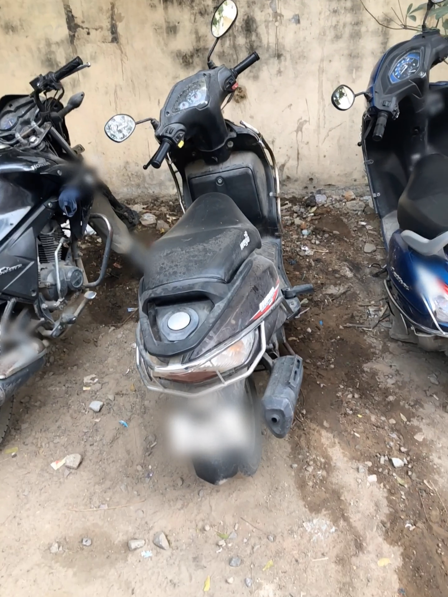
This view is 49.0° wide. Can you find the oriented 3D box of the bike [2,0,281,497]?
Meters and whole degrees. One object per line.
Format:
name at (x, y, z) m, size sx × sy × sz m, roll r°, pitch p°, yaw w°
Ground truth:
bike at (-0.180, -0.360, 1.840) m, size 0.527 × 1.113 × 1.568 m, roll -5°, pitch 36°, yaw 0°
